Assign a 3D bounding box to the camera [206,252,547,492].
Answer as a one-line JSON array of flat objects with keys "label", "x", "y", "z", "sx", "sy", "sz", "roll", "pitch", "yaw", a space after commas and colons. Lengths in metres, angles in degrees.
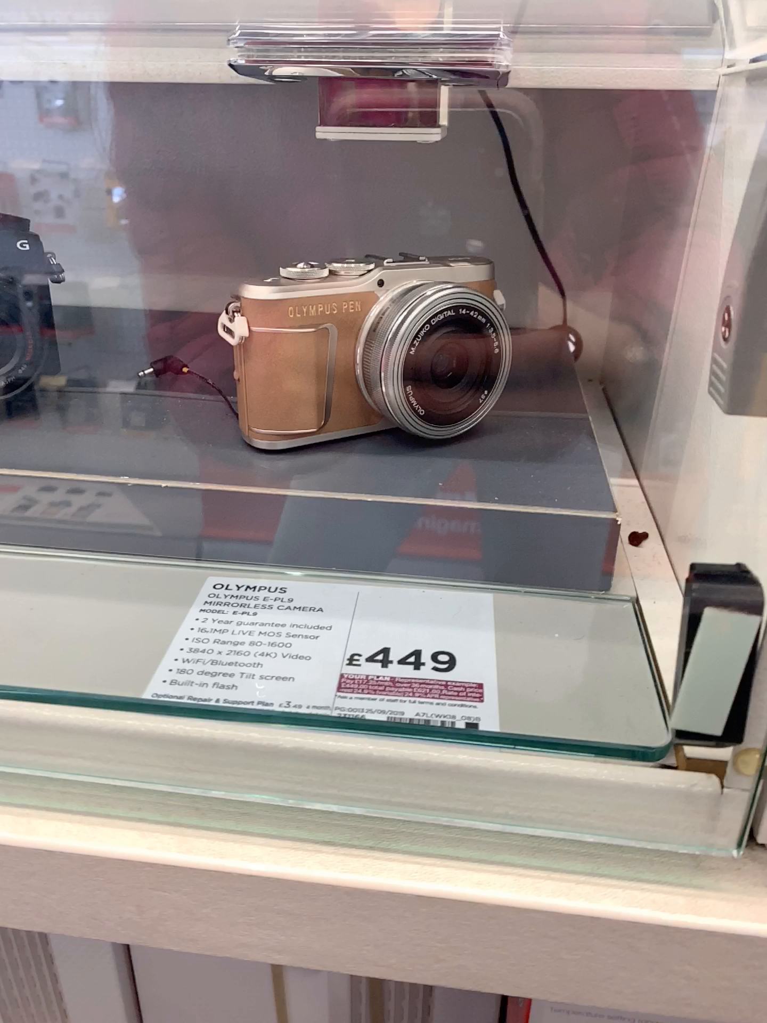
[{"label": "camera", "x": -0.002, "y": -0.063, "z": 0.326, "sx": 0.120, "sy": 0.069, "sz": 0.060, "roll": -14, "pitch": 29, "yaw": -29}]
